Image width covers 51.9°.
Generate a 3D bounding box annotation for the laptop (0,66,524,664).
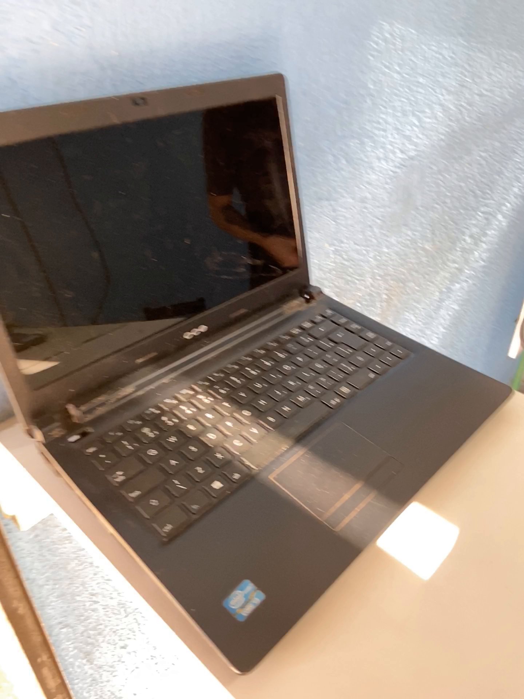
[{"bbox_3d":[-0.001,-0.058,0.416,0.334,0.211,0.312,-29,46,-36],"label":"laptop"}]
